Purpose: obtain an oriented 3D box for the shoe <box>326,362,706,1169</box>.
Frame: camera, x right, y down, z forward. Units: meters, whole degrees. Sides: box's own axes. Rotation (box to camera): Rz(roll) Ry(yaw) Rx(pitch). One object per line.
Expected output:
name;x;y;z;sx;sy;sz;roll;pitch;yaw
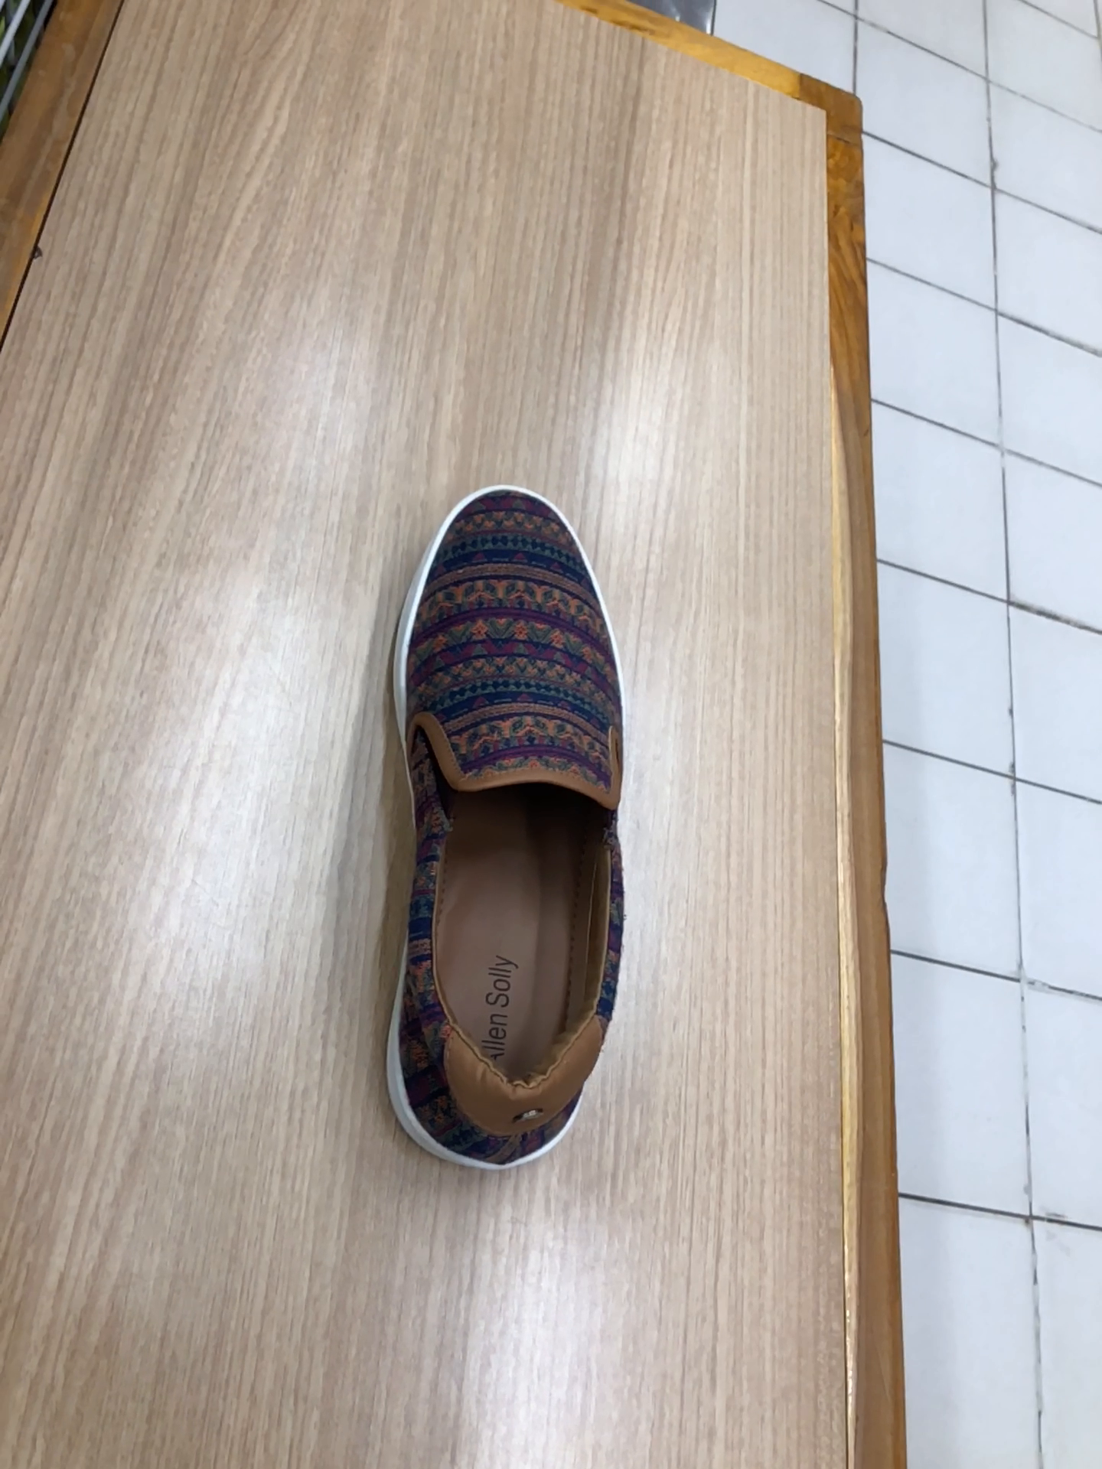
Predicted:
shoe;-0.011;0.012;0.448;0.100;0.090;0.271;10;66;-18
